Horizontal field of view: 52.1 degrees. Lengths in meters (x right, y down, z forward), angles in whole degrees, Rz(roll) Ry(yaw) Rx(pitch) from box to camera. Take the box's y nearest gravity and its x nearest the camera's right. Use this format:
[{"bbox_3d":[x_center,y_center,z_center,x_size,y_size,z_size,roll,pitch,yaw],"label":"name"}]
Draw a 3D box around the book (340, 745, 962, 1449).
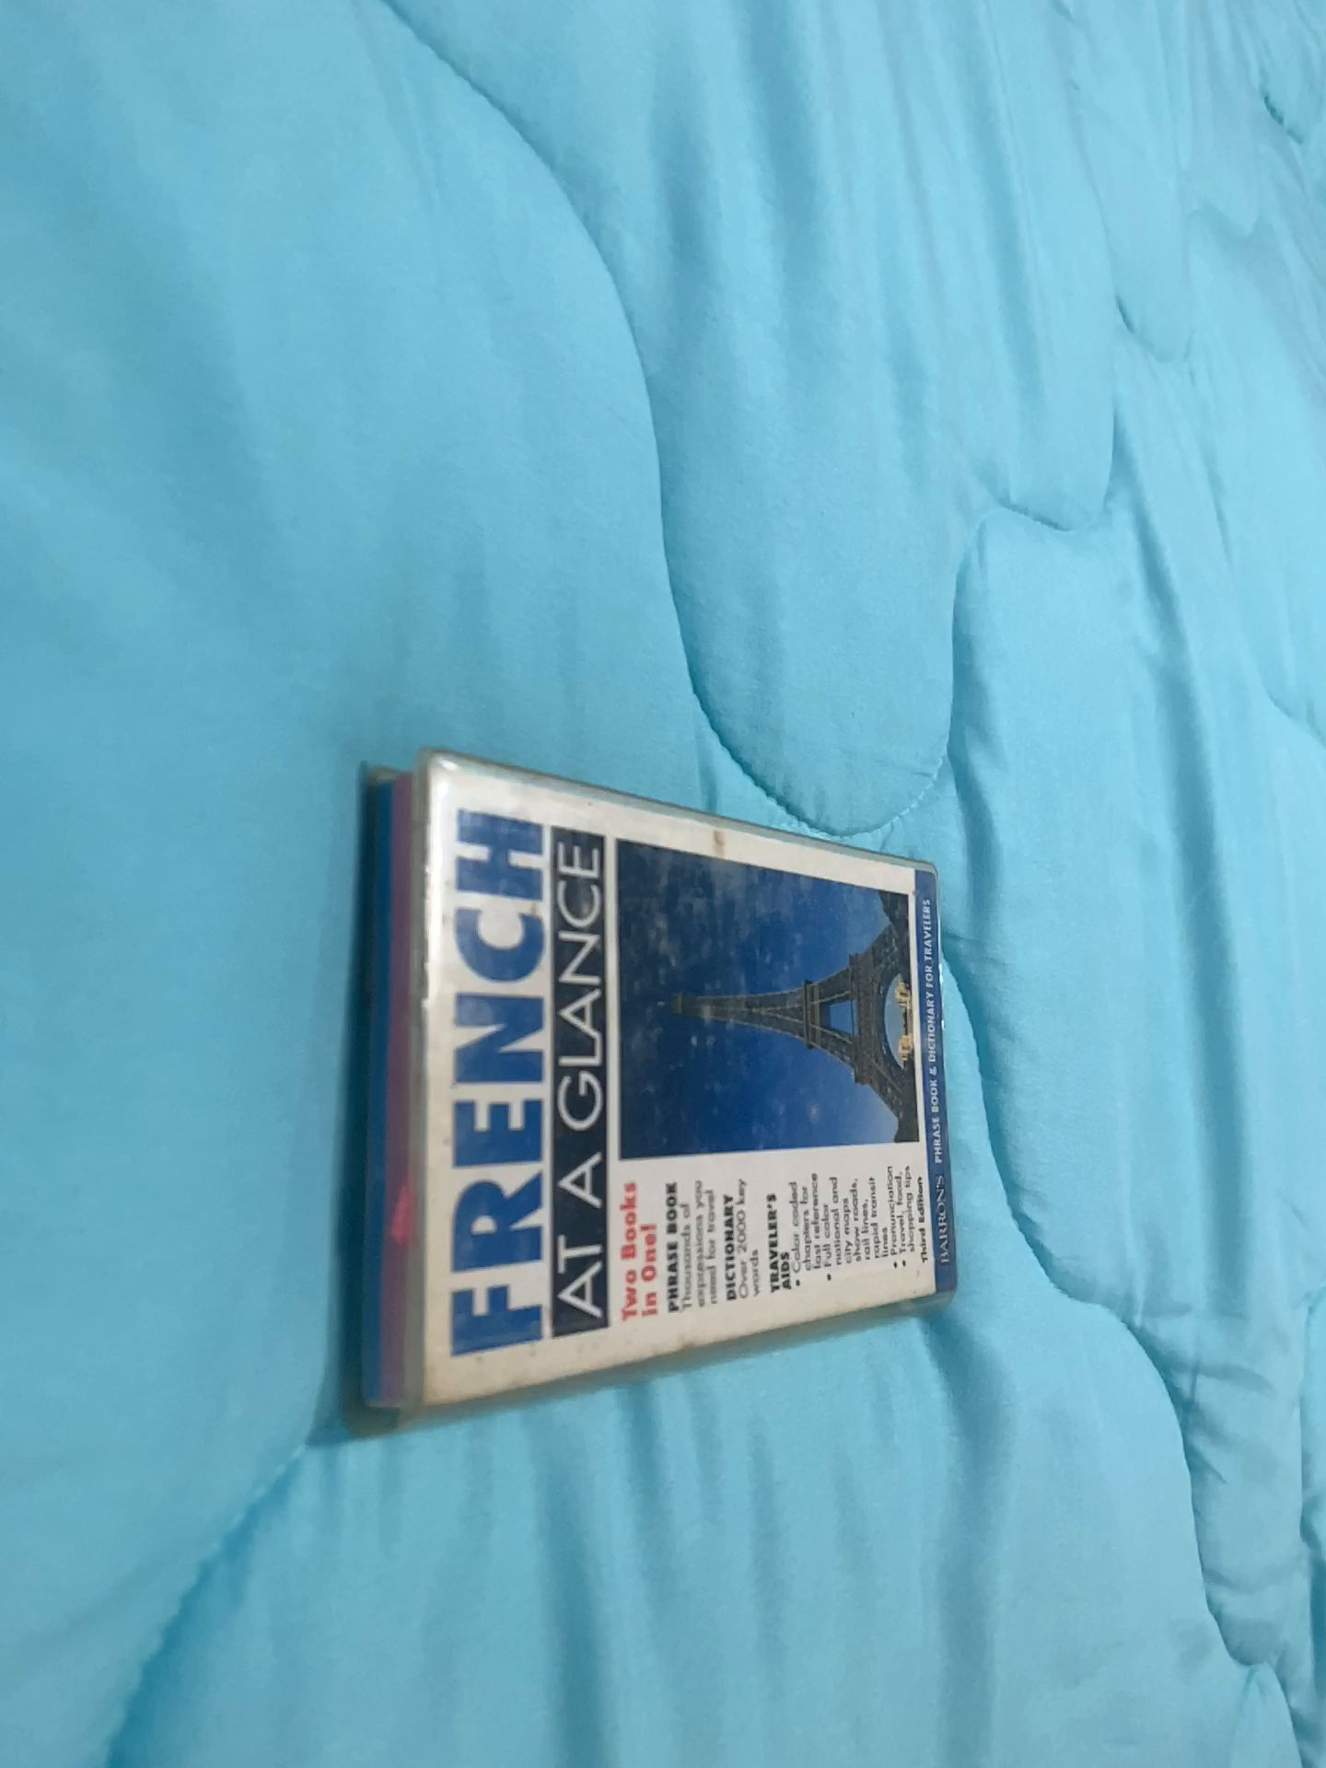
[{"bbox_3d":[0.009,0.036,0.256,0.155,0.017,0.099,8,78,-49],"label":"book"}]
